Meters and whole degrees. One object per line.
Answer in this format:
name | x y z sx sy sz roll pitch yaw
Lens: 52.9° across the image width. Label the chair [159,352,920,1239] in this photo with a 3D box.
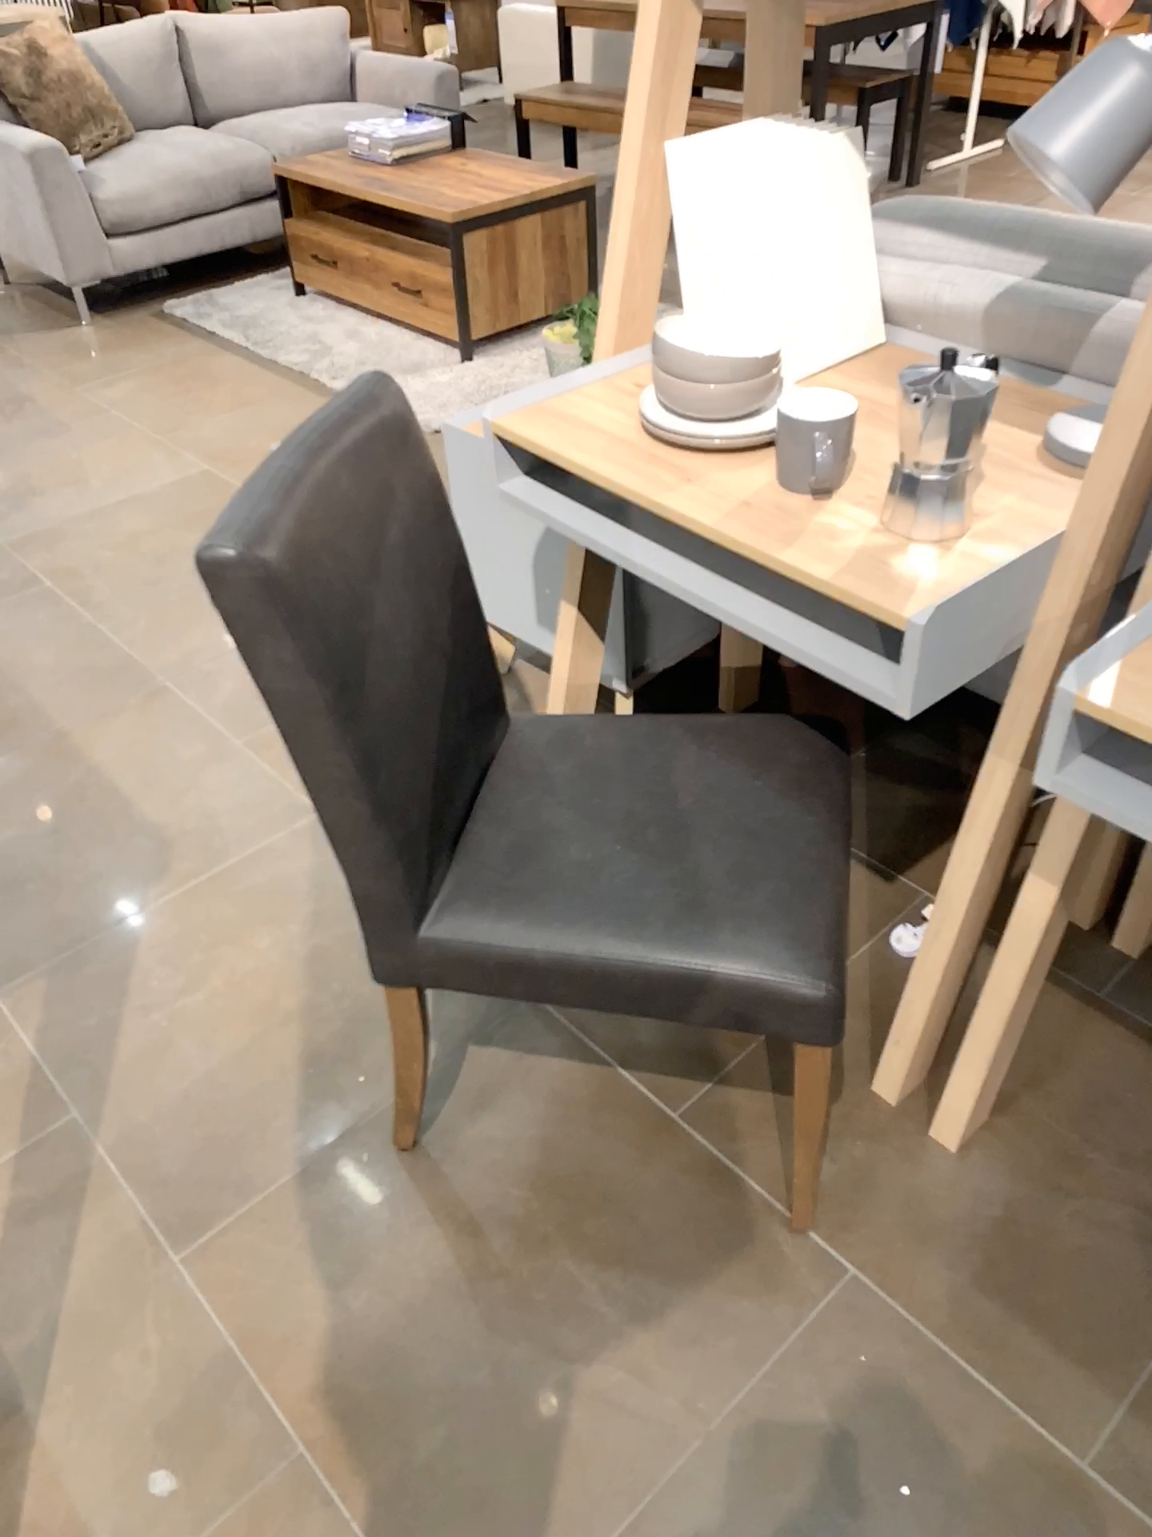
chair | 0.019 0.048 1.347 0.605 0.886 0.461 5 39 11
